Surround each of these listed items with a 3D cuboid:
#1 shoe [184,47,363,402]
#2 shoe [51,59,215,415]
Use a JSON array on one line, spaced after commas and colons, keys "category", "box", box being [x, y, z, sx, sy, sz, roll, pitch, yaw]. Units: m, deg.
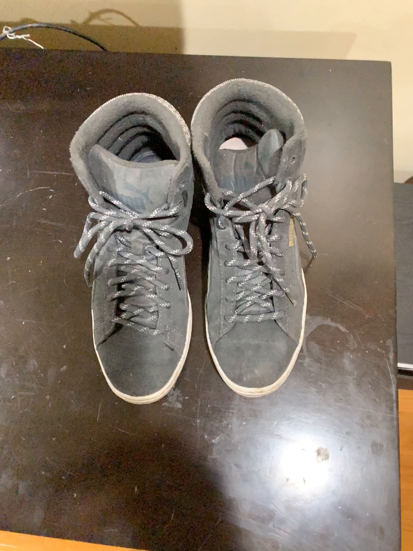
[{"category": "shoe", "box": [0.041, -0.032, 0.349, 0.097, 0.125, 0.253, -4, 74, 2]}, {"category": "shoe", "box": [-0.054, -0.028, 0.352, 0.100, 0.107, 0.261, -4, 74, 2]}]
